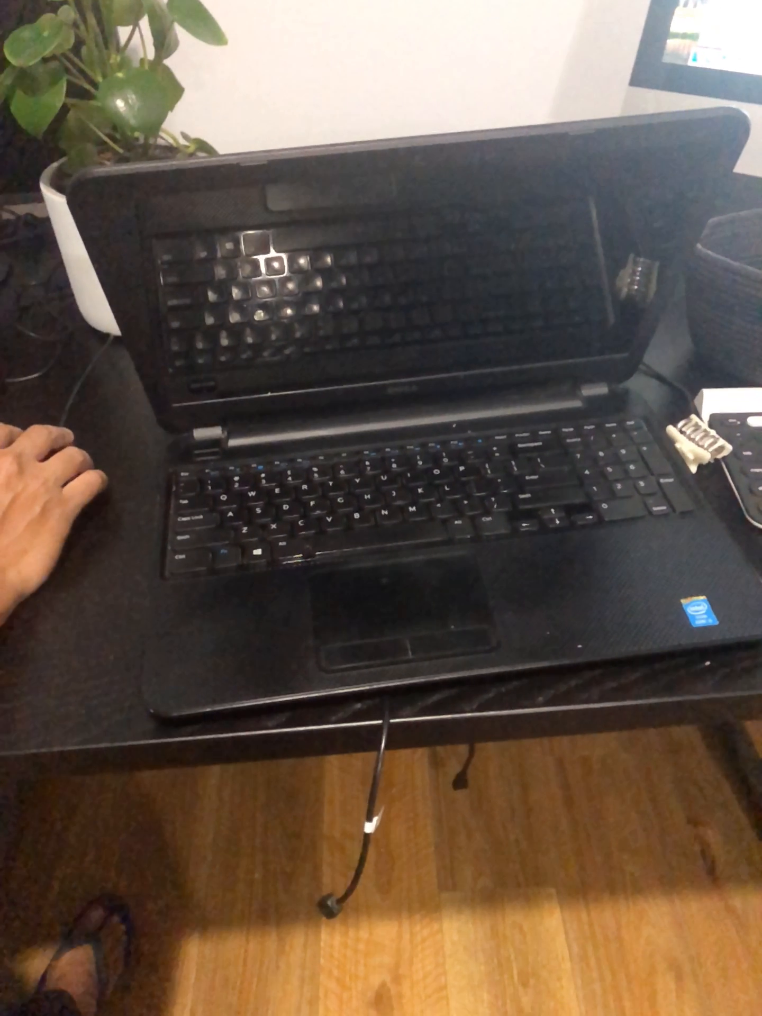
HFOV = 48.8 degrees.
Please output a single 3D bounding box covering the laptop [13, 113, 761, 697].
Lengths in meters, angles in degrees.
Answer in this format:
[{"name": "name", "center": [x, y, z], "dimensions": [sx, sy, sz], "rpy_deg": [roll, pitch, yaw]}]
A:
[{"name": "laptop", "center": [0.024, -0.063, 0.478], "dimensions": [0.366, 0.210, 0.207], "rpy_deg": [-6, 42, -3]}]
